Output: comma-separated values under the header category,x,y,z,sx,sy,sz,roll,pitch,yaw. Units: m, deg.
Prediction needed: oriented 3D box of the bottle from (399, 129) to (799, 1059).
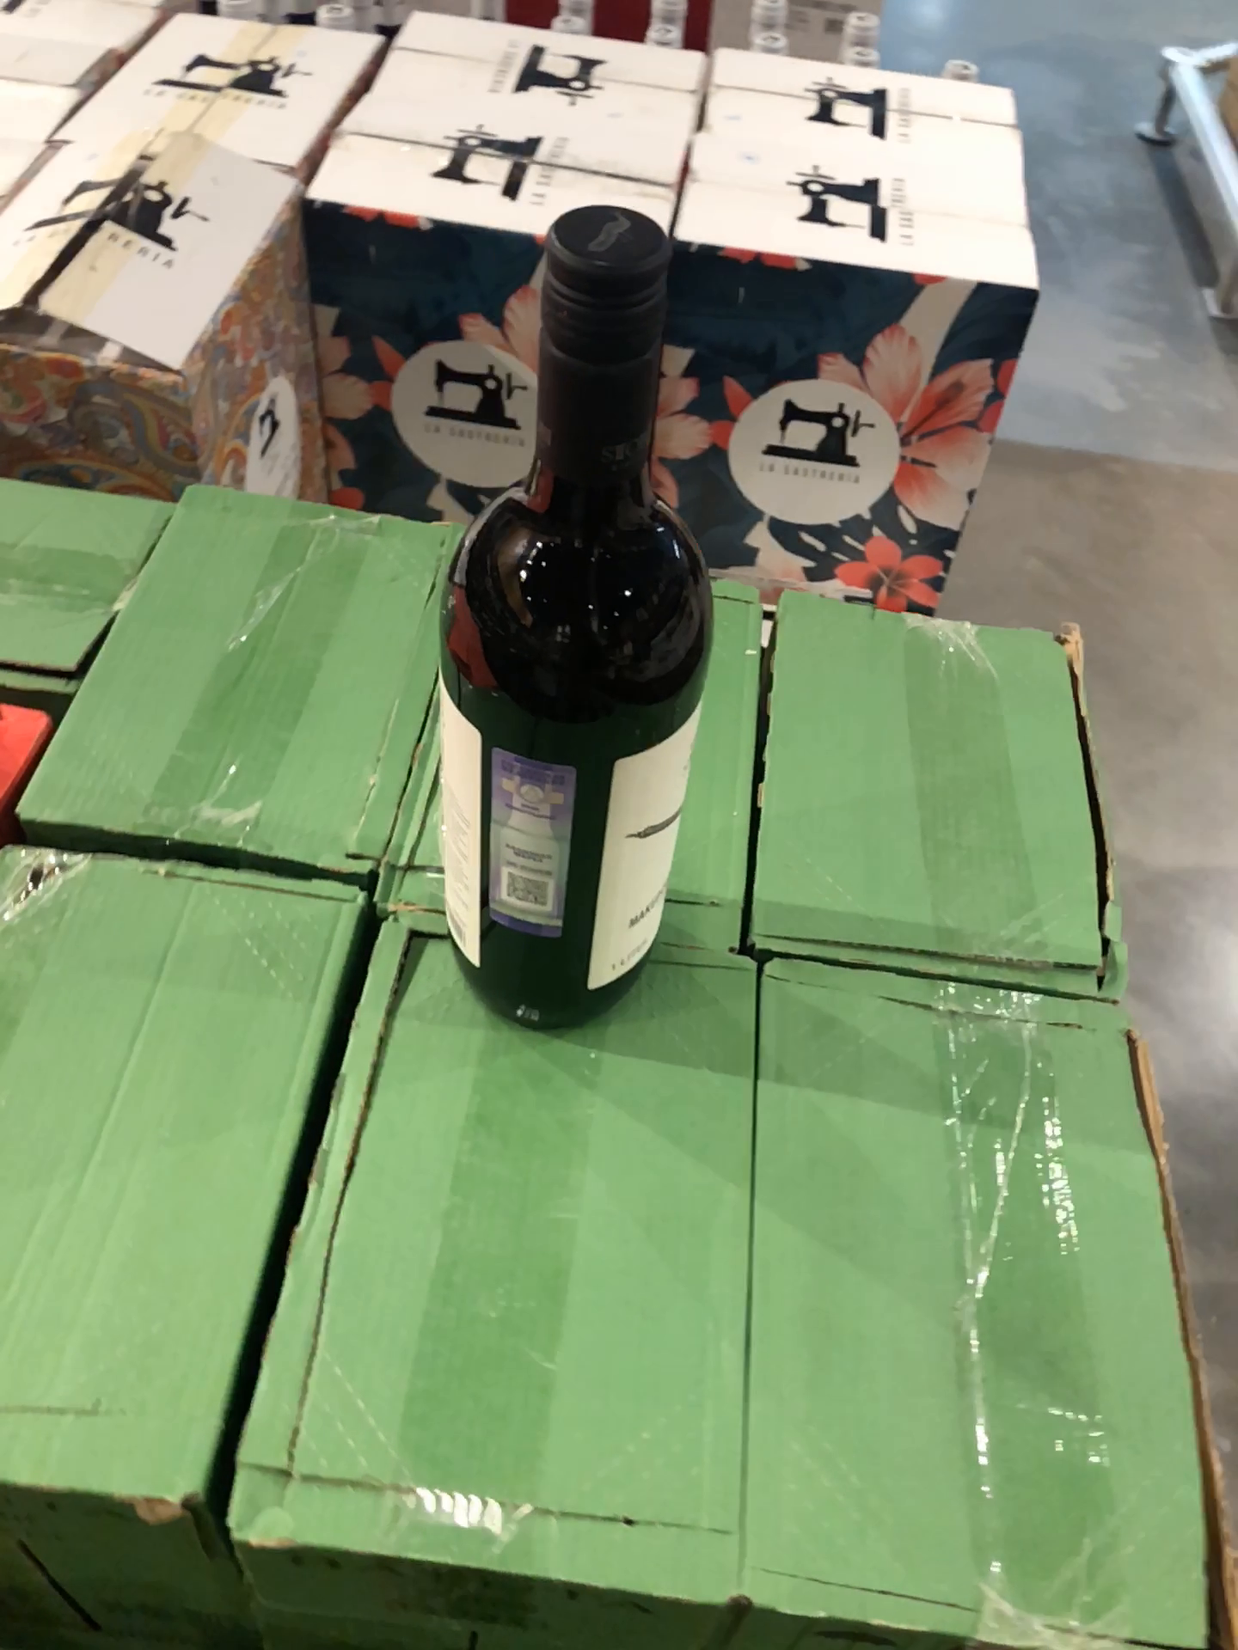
category,x,y,z,sx,sy,sz,roll,pitch,yaw
bottle,-0.013,-0.048,0.434,0.080,0.288,0.091,11,49,3
